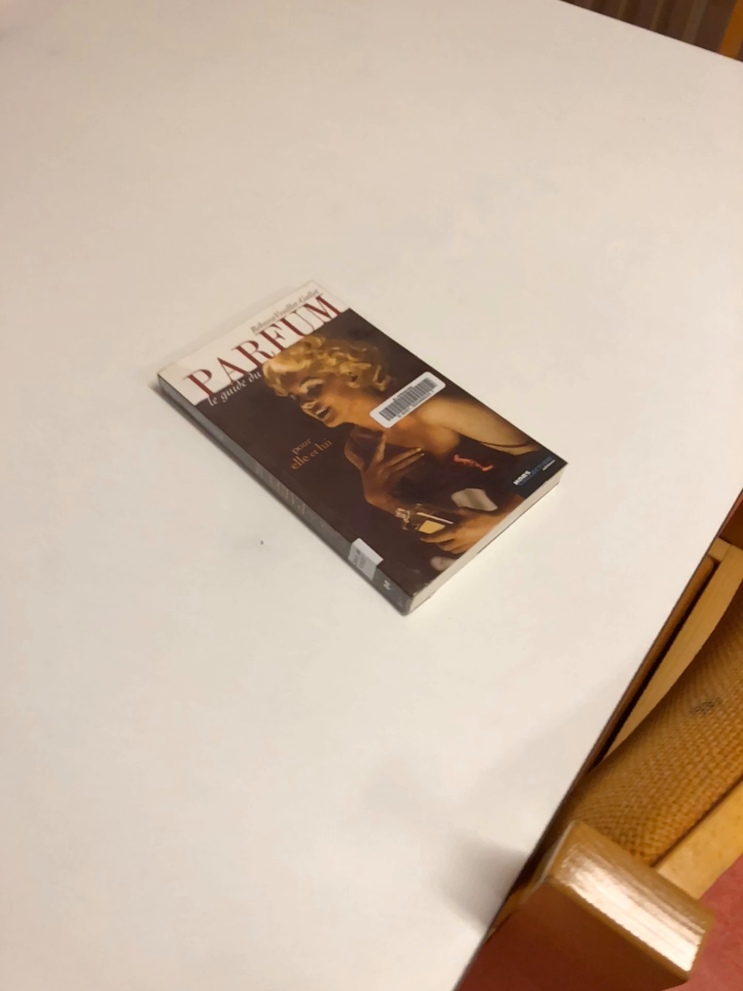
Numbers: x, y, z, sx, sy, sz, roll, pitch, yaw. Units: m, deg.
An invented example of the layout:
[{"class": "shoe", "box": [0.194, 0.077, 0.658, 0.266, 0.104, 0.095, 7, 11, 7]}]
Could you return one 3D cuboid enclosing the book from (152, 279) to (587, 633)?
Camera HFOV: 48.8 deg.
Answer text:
[{"class": "book", "box": [-0.005, -0.036, 0.466, 0.210, 0.020, 0.133, 39, 61, 24]}]
